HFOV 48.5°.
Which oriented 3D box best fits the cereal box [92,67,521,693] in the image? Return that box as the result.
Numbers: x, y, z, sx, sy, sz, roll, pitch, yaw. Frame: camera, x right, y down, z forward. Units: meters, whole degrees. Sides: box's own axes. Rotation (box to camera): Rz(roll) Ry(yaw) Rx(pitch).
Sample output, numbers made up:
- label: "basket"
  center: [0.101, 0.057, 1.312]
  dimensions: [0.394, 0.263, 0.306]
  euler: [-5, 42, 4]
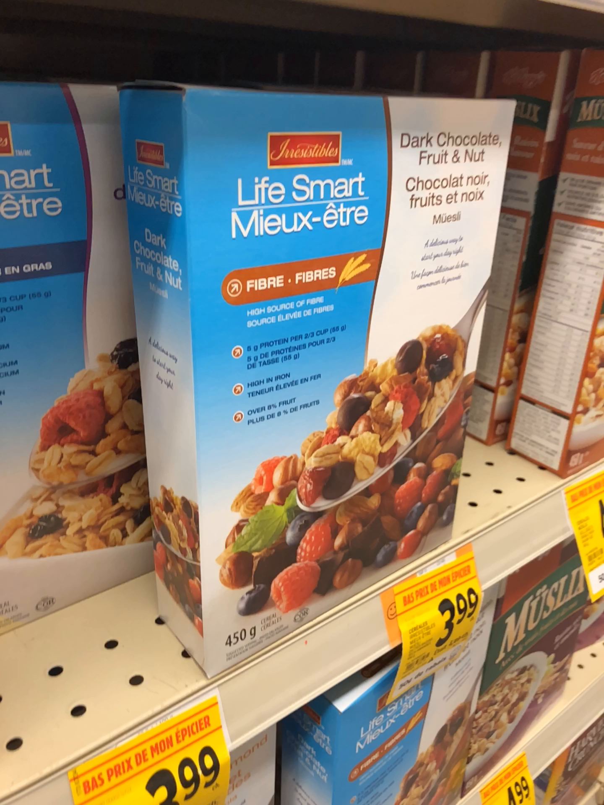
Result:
- label: "cereal box"
  center: [0.007, -0.014, 0.304]
  dimensions: [0.171, 0.238, 0.050]
  euler: [-17, 31, -36]
